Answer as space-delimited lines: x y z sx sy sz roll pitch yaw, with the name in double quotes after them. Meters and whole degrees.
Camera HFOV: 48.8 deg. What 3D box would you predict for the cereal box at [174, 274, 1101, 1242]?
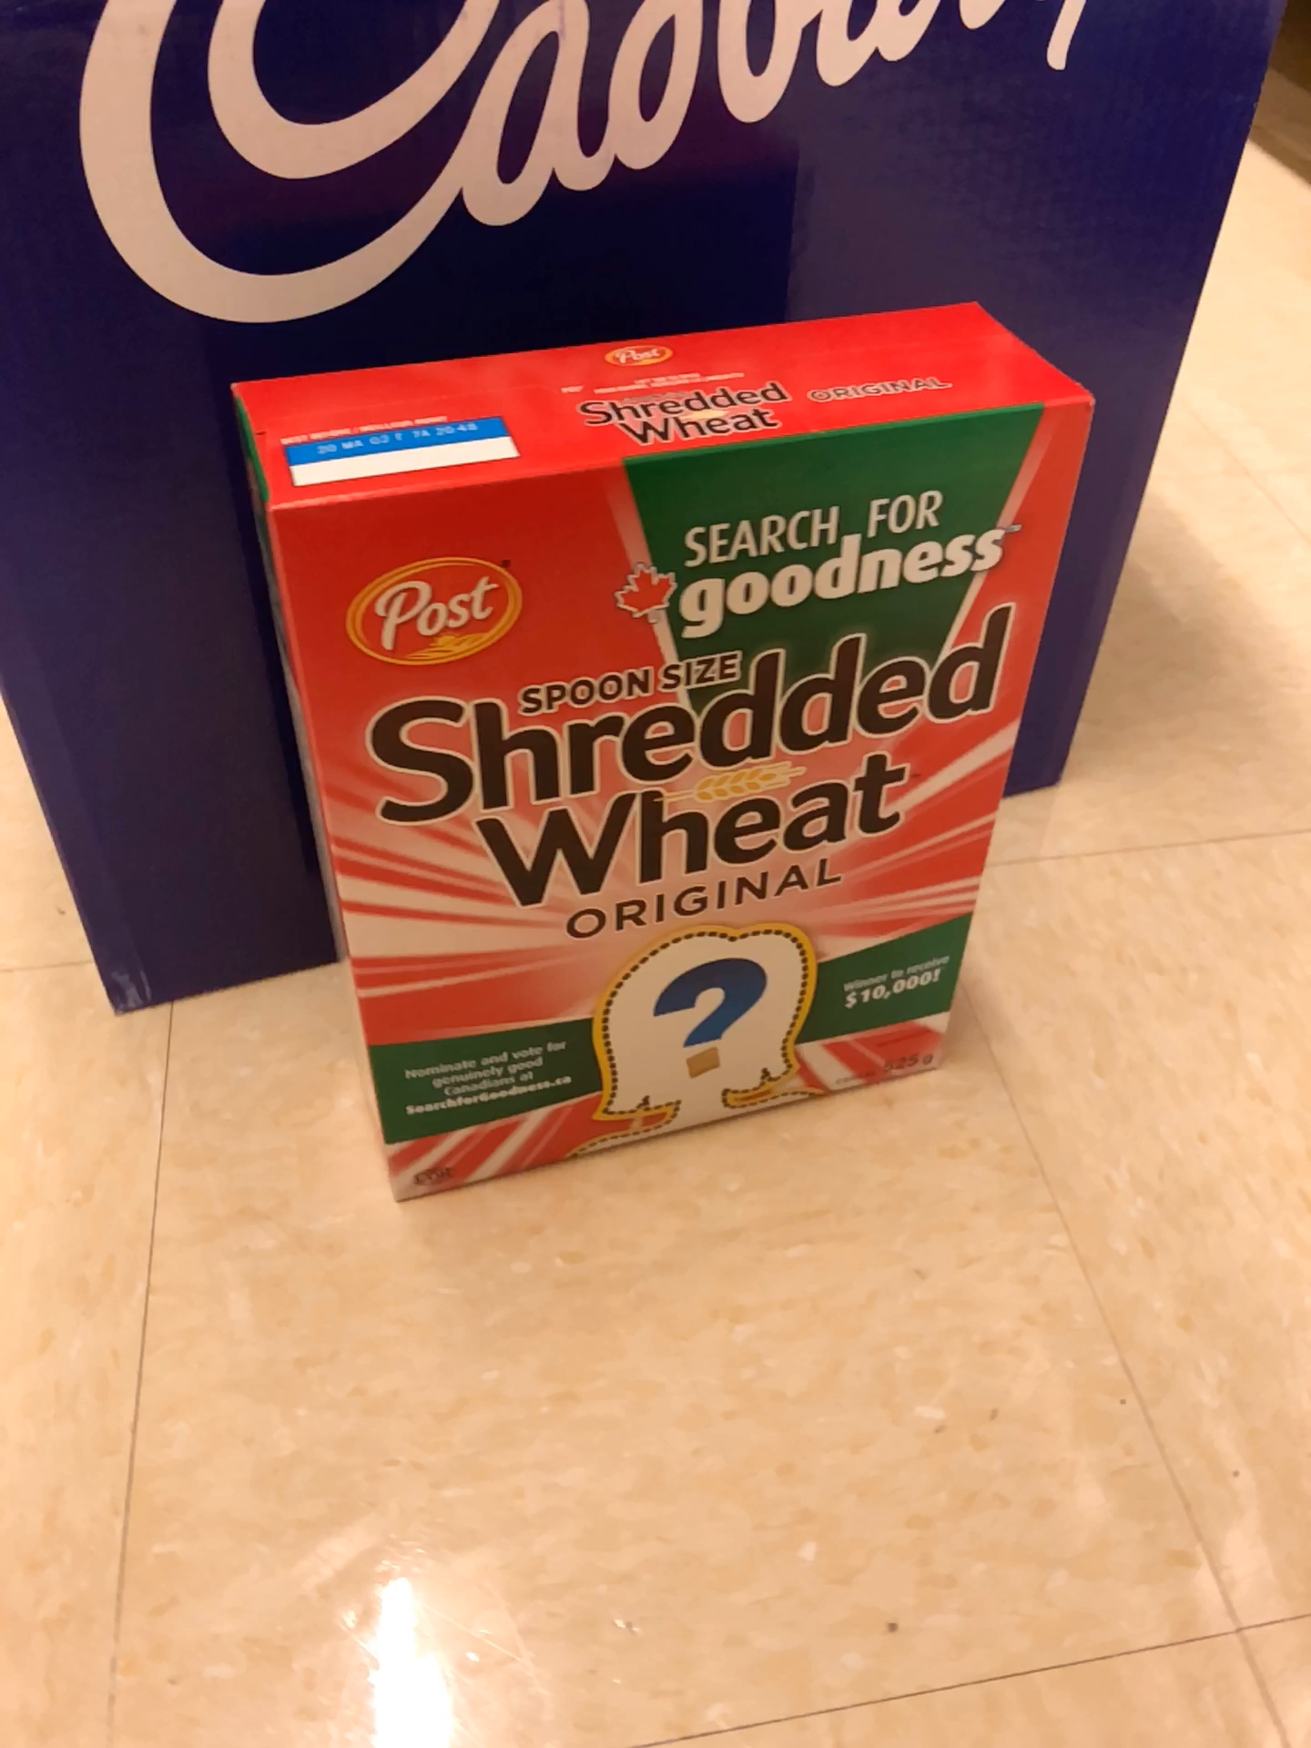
-0.005 -0.021 0.438 0.210 0.268 0.070 -13 45 -14 "cereal box"
